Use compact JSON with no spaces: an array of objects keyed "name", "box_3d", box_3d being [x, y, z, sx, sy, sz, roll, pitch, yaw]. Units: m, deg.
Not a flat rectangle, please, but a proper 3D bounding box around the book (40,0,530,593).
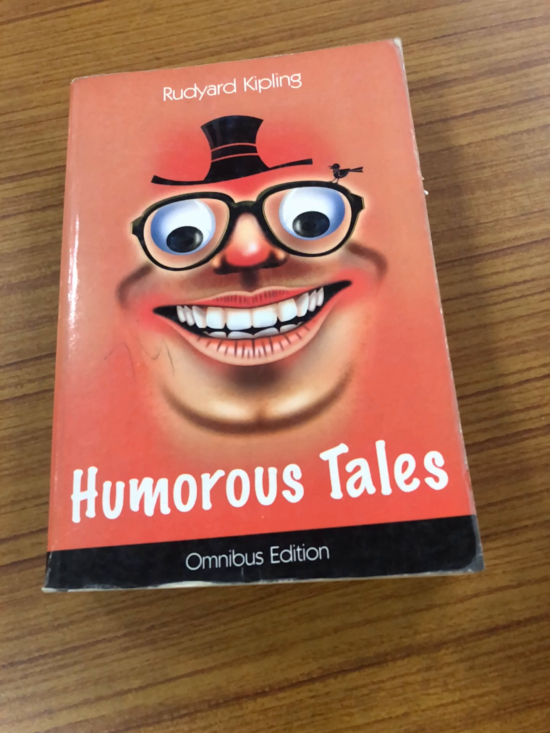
[{"name":"book","box_3d":[-0.004,-0.028,0.210,0.130,0.040,0.190,-7,70,10]}]
